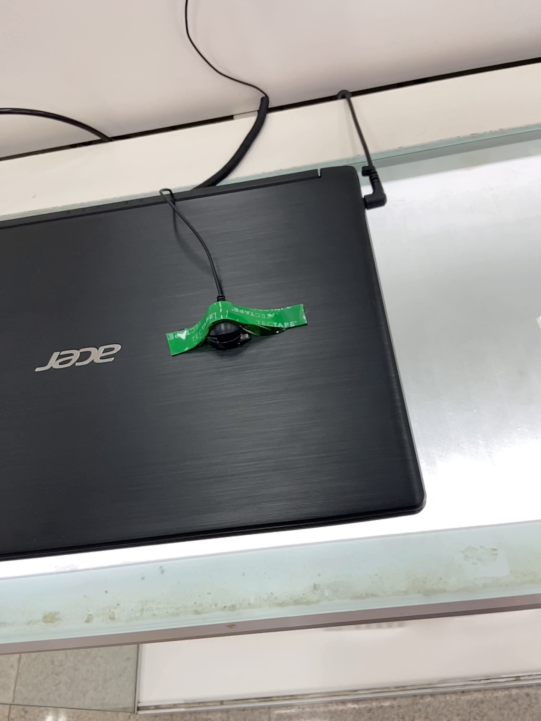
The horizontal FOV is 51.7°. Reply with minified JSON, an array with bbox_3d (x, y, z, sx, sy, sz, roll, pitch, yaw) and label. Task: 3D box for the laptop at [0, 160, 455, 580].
[{"bbox_3d":[-0.111,-0.013,0.352,0.386,0.001,0.248,-8,56,6],"label":"laptop"}]
